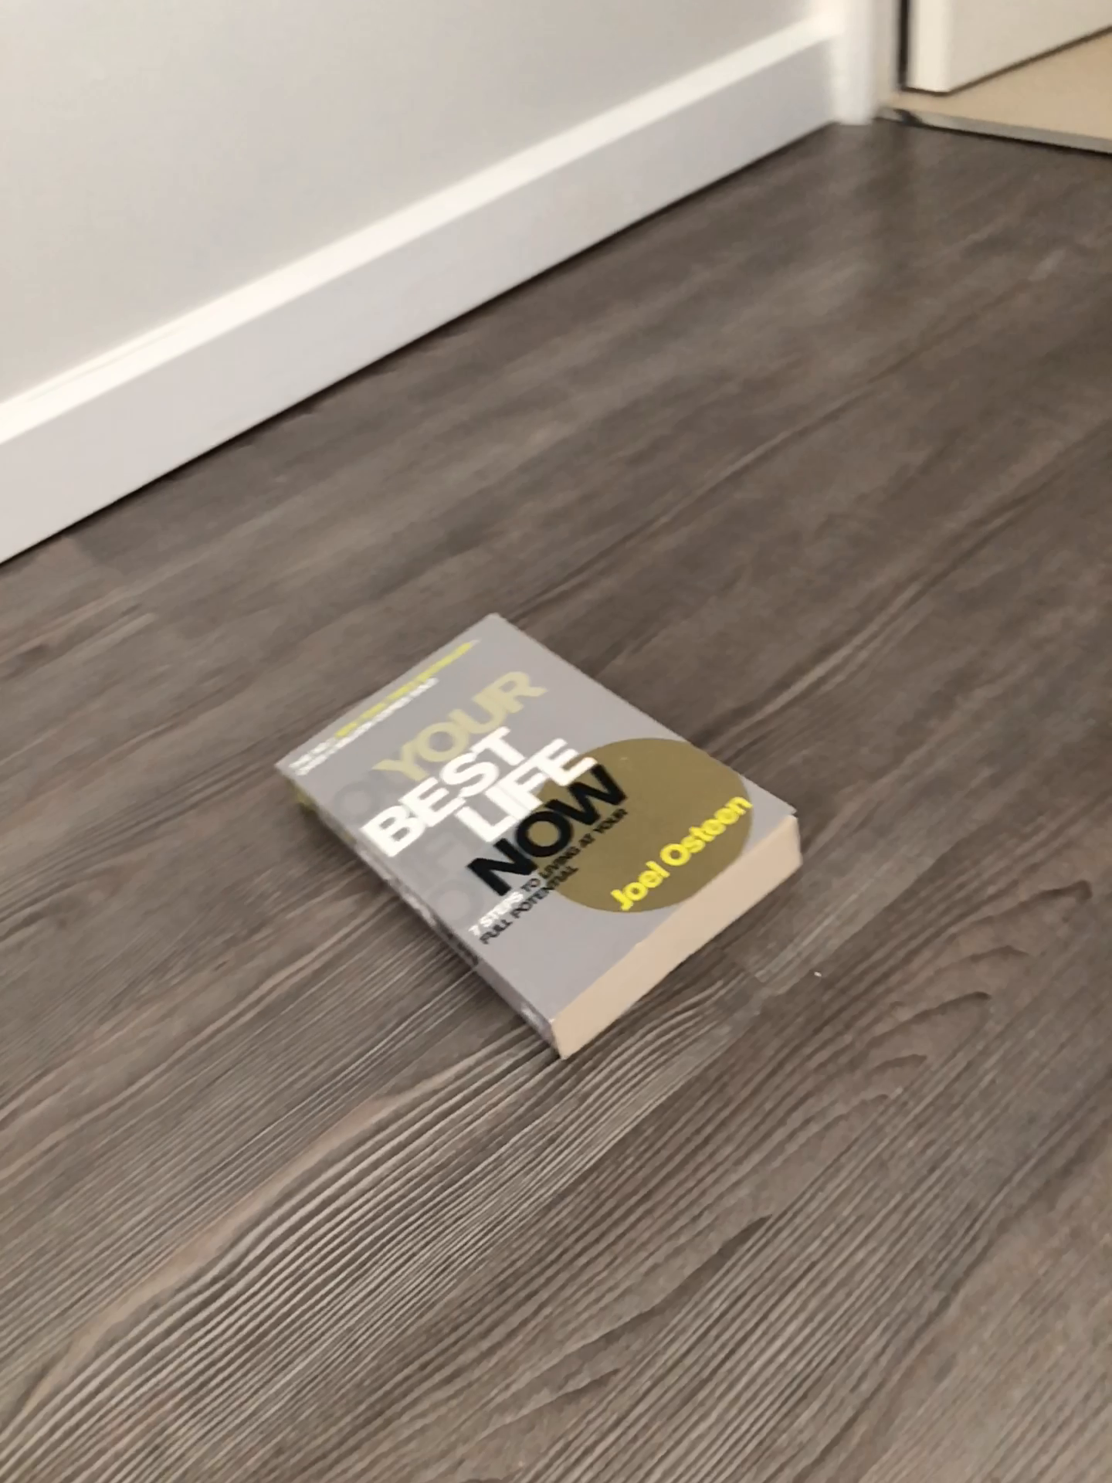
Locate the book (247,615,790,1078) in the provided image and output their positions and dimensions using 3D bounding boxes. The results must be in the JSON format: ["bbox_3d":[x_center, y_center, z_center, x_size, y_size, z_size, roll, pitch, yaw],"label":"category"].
[{"bbox_3d":[-0.022,0.030,0.529,0.137,0.030,0.201,-35,48,-23],"label":"book"}]
